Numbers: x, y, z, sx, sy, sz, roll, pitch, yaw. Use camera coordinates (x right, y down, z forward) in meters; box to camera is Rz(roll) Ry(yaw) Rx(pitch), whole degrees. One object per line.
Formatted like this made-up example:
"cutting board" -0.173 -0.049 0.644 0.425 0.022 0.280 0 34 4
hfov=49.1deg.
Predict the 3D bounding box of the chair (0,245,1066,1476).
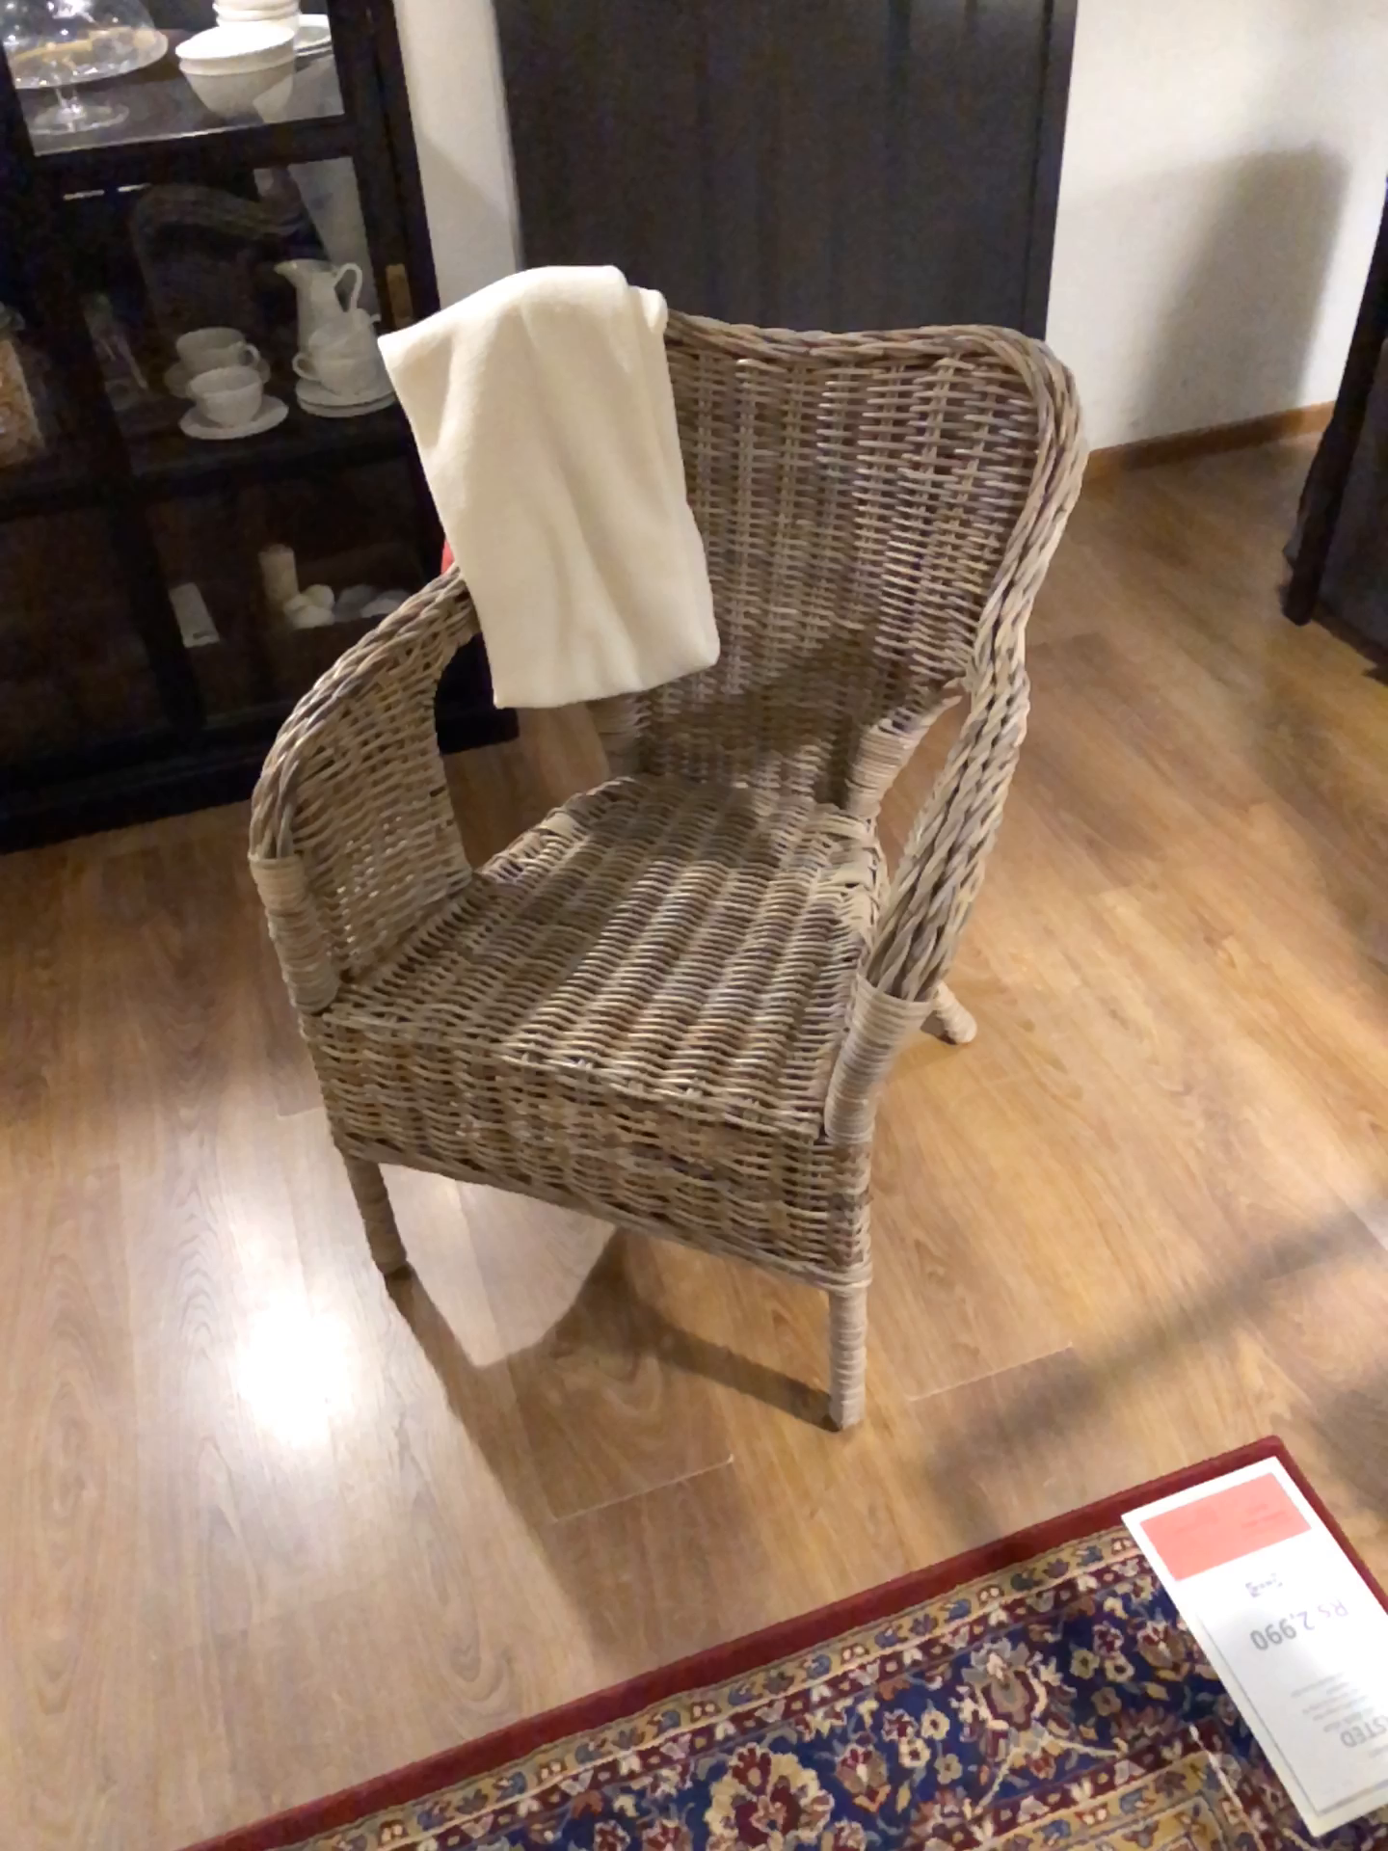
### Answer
"chair" -0.071 -0.084 1.394 0.621 0.814 0.633 12 42 18
